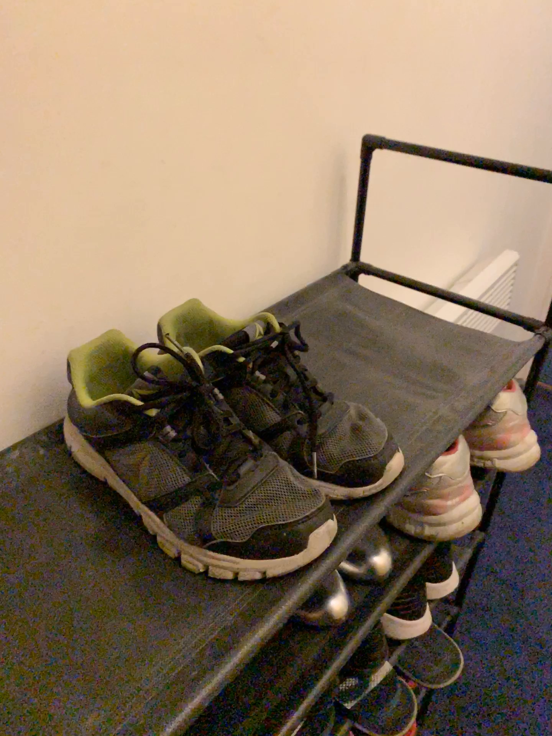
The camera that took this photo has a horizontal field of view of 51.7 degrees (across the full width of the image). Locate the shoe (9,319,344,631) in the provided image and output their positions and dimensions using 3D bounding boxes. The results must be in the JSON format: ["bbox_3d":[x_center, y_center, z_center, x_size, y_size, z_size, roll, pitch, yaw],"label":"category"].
[{"bbox_3d":[-0.083,0.063,0.443,0.251,0.099,0.101,24,40,32],"label":"shoe"}]

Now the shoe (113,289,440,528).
[{"bbox_3d":[-0.008,0.017,0.494,0.261,0.069,0.111,23,40,31],"label":"shoe"}]
